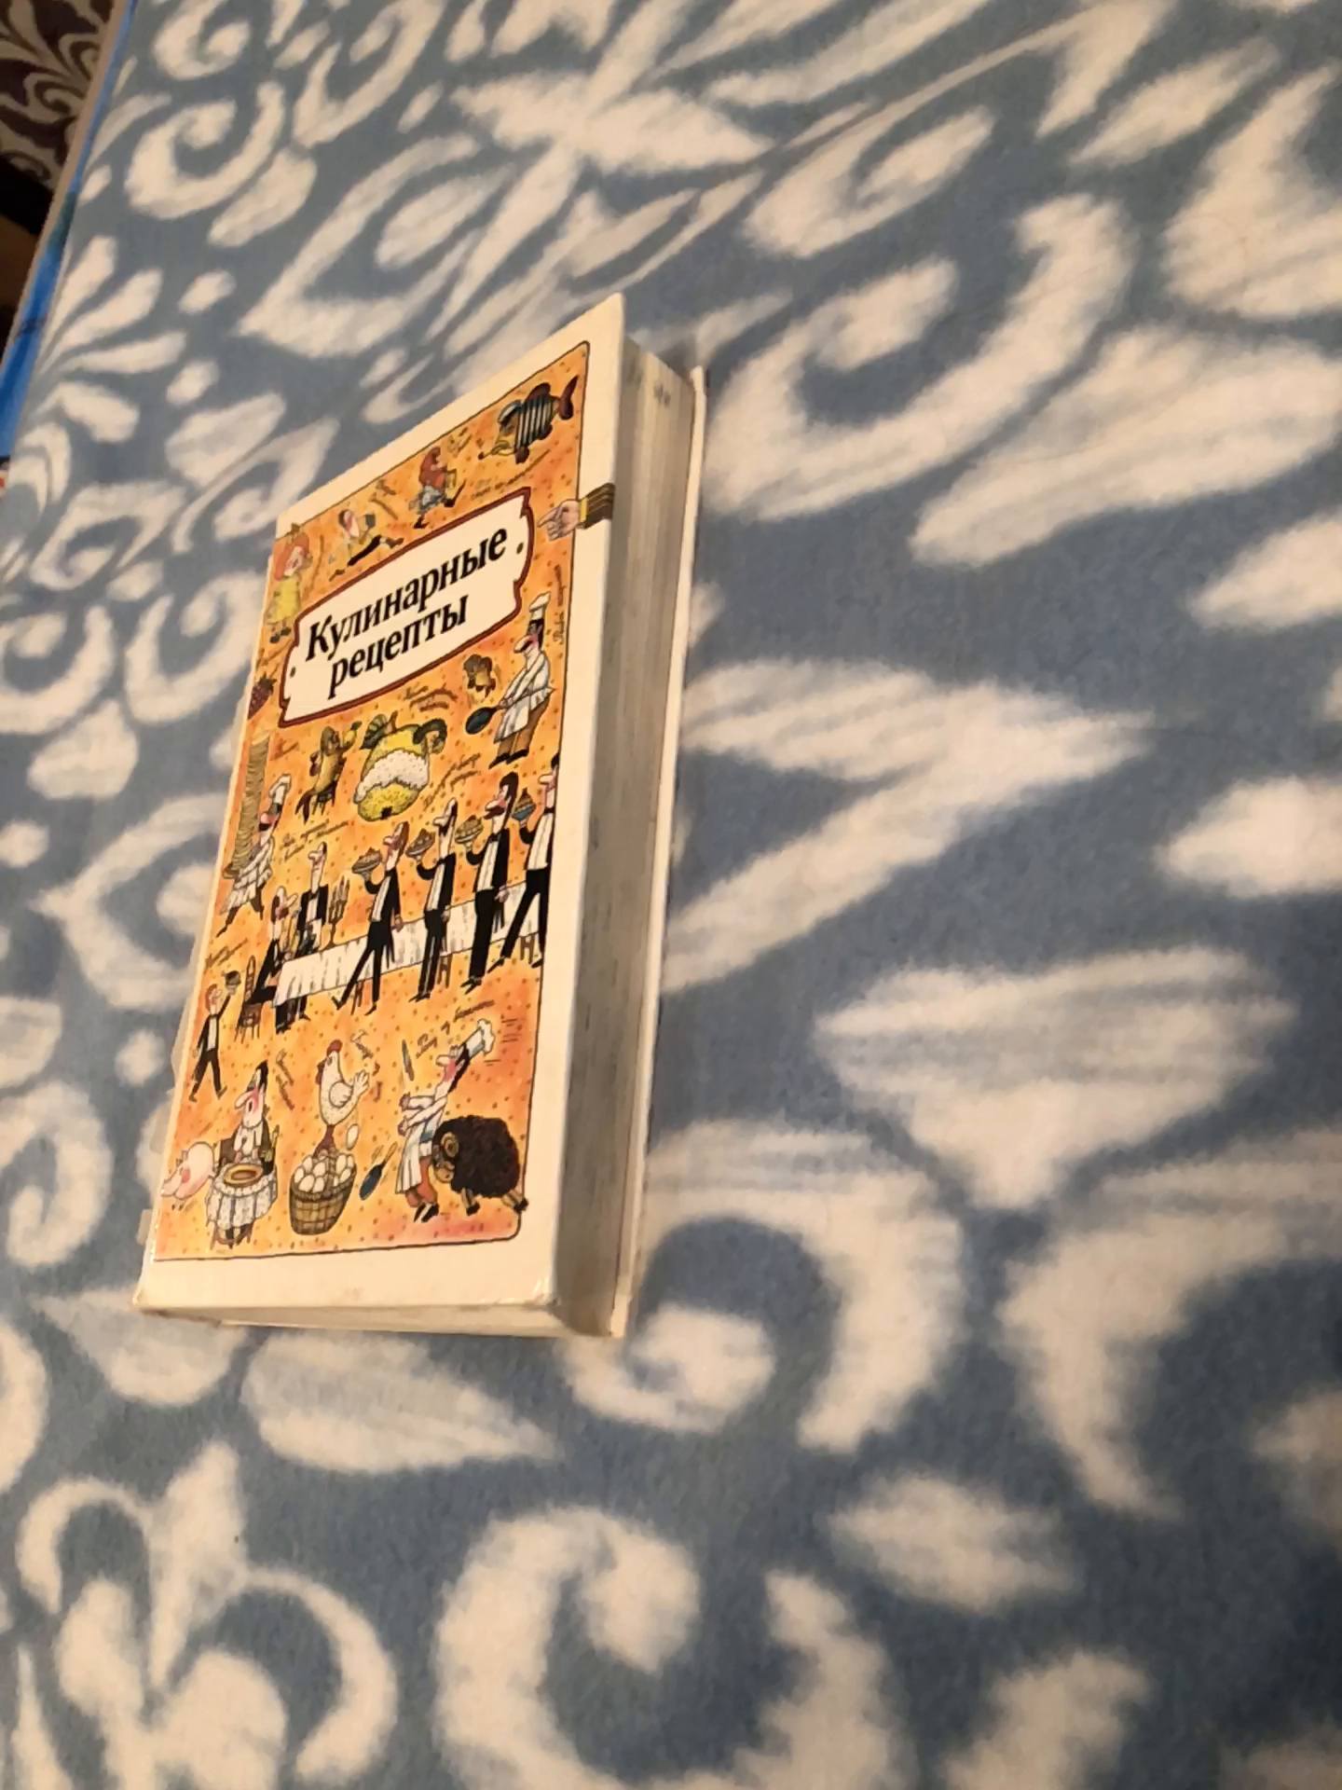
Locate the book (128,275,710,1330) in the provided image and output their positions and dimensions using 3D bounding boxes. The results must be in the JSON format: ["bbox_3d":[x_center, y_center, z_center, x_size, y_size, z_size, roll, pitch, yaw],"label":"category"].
[{"bbox_3d":[-0.059,-0.014,0.347,0.142,0.032,0.220,-16,63,42],"label":"book"}]
